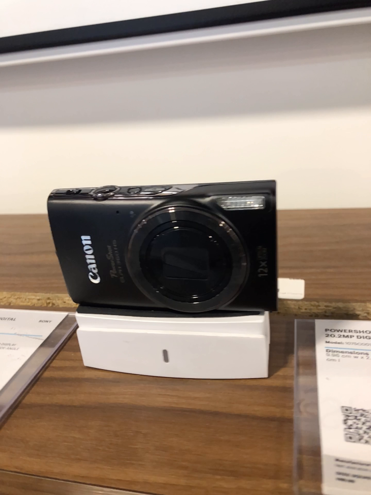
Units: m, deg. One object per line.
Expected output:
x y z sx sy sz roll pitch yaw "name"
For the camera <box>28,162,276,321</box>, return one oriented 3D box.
-0.011 -0.003 0.186 0.100 0.060 0.030 0 22 13 "camera"
